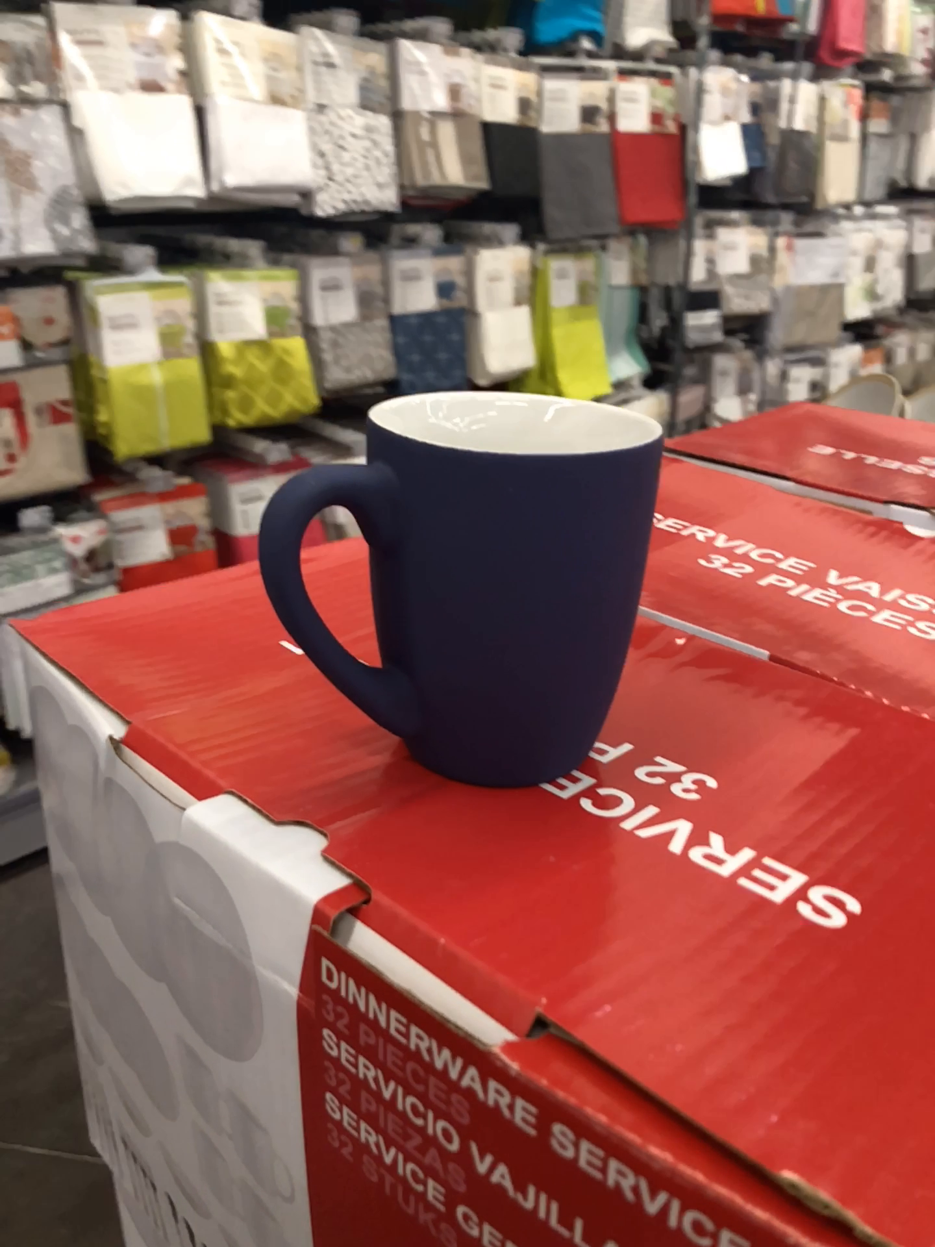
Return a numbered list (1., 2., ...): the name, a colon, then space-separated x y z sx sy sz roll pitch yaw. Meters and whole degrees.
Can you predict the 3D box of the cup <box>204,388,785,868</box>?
1. cup: 0.006 -0.011 0.282 0.121 0.088 0.091 -13 24 -35
